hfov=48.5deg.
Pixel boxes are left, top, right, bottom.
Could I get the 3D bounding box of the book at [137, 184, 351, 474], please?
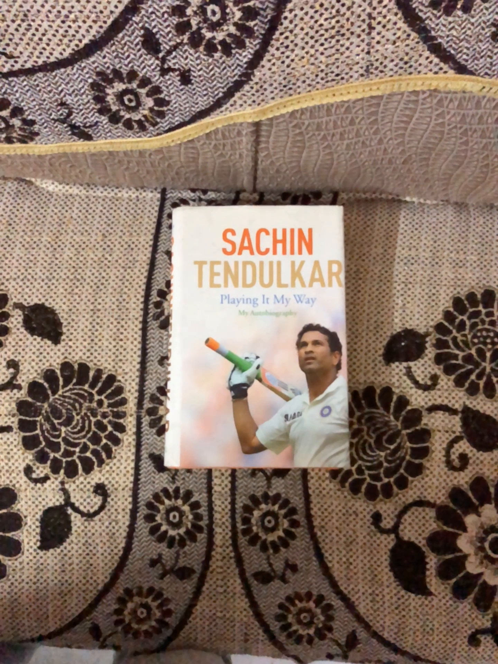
[{"bbox_3d":[-0.004,-0.002,0.523,0.180,0.070,0.260,0,80,-1],"label":"book"}]
